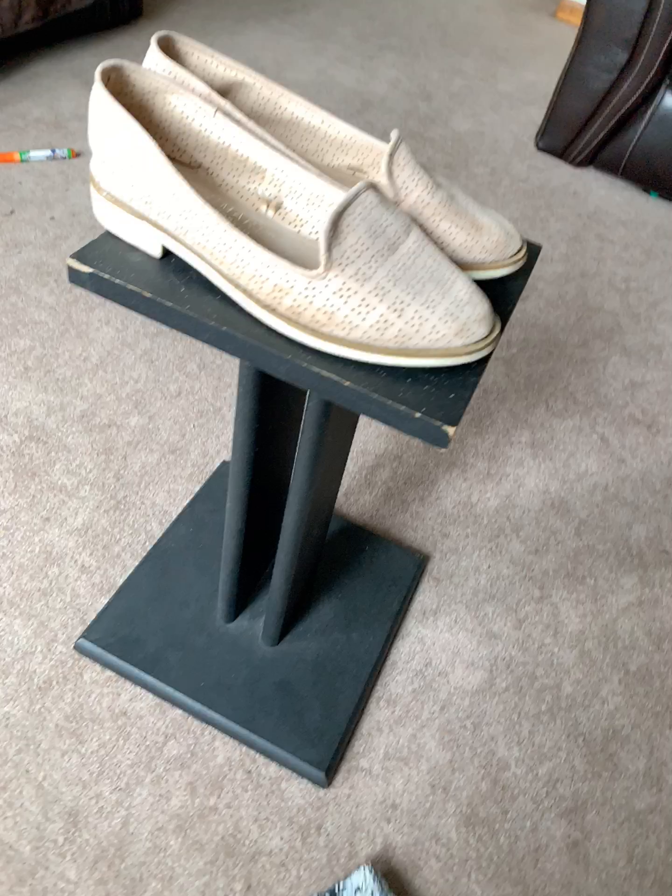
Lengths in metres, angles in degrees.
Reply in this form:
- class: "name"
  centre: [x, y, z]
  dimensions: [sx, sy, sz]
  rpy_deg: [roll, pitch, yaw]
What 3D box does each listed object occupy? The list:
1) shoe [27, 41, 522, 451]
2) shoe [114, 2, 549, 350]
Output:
- class: "shoe"
  centre: [-0.037, -0.113, 0.378]
  dimensions: [0.250, 0.079, 0.081]
  rpy_deg: [33, 50, 6]
- class: "shoe"
  centre: [-0.002, -0.169, 0.433]
  dimensions: [0.250, 0.079, 0.081]
  rpy_deg: [27, 48, -2]
